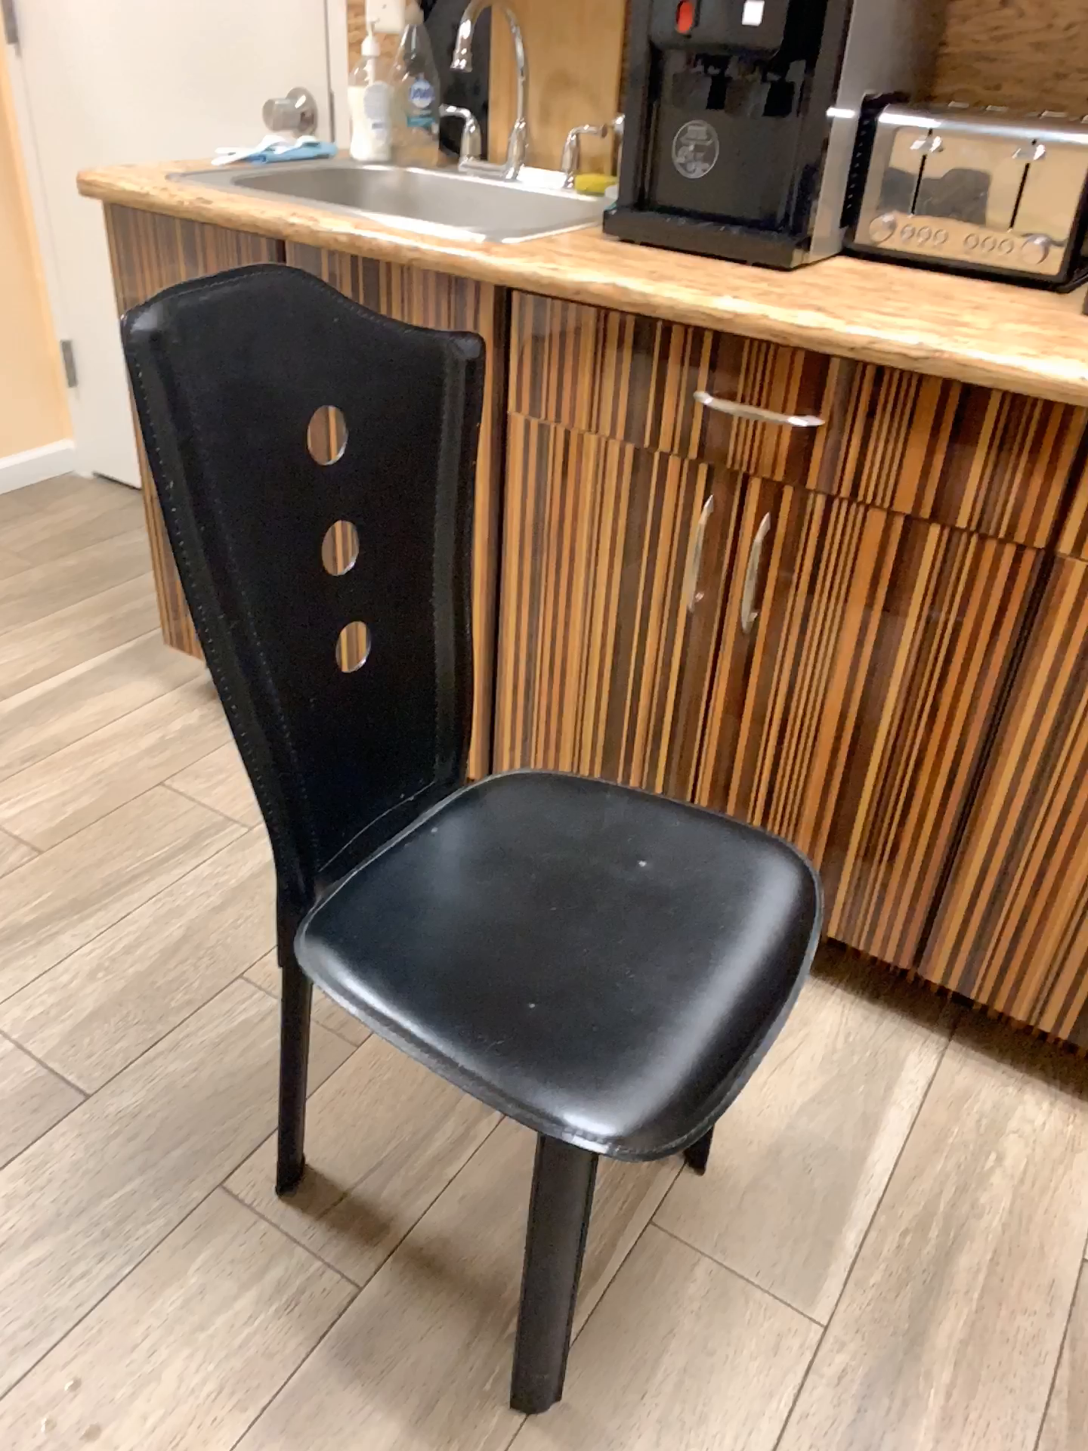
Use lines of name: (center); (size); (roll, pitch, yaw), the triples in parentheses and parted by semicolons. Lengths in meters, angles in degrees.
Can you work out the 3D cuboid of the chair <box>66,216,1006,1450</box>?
chair: (-0.007, 0.101, 1.019); (0.474, 0.941, 0.463); (22, 37, 25)
